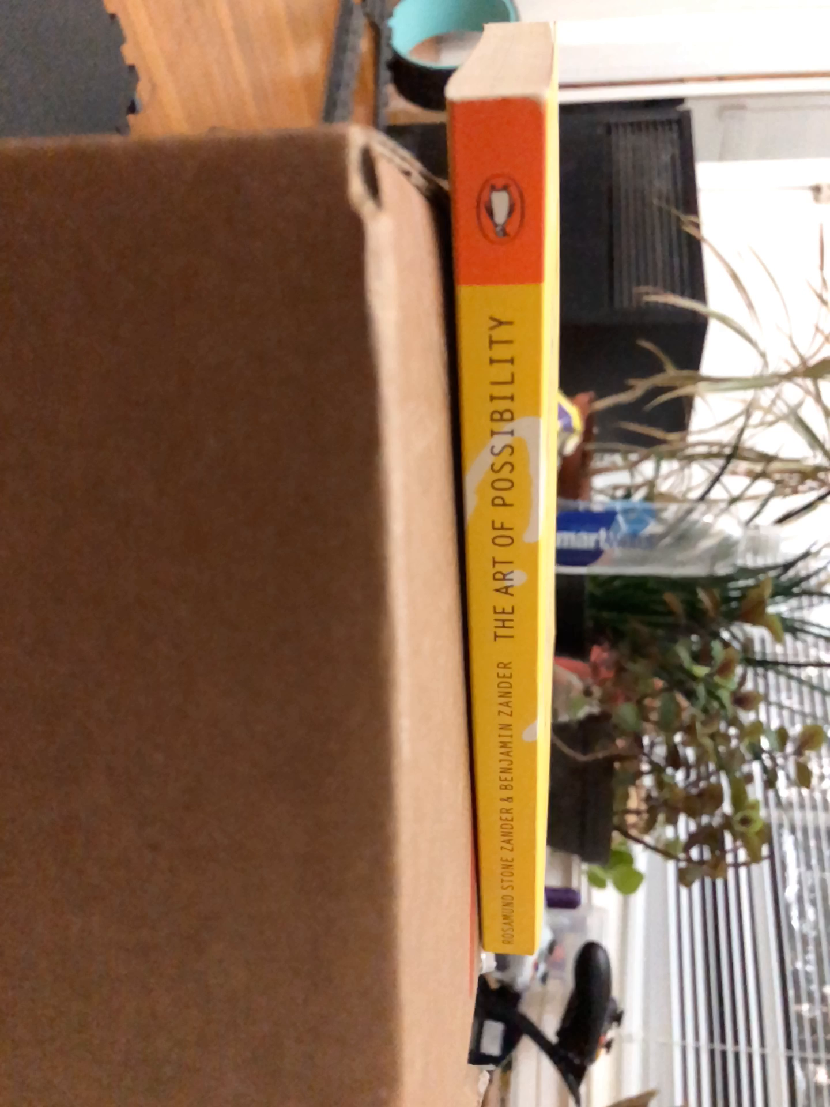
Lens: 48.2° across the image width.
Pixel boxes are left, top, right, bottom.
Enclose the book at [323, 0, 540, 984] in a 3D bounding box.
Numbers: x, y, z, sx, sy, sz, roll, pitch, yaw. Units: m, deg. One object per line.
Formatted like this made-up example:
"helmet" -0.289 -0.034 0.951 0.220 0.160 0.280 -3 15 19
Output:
"book" 0.018 -0.022 0.237 0.150 0.020 0.210 -75 163 -55
